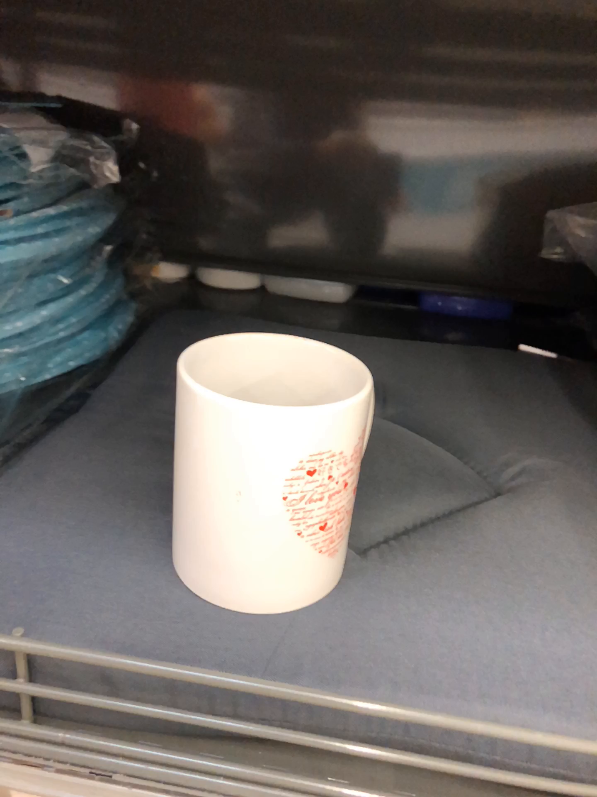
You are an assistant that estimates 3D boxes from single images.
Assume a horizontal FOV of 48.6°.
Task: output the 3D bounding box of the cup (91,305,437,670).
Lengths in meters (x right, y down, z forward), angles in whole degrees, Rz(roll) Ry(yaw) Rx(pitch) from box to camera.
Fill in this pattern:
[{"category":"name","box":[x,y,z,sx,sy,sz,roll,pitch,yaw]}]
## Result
[{"category":"cup","box":[-0.013,0.028,0.303,0.090,0.099,0.121,22,30,33]}]
